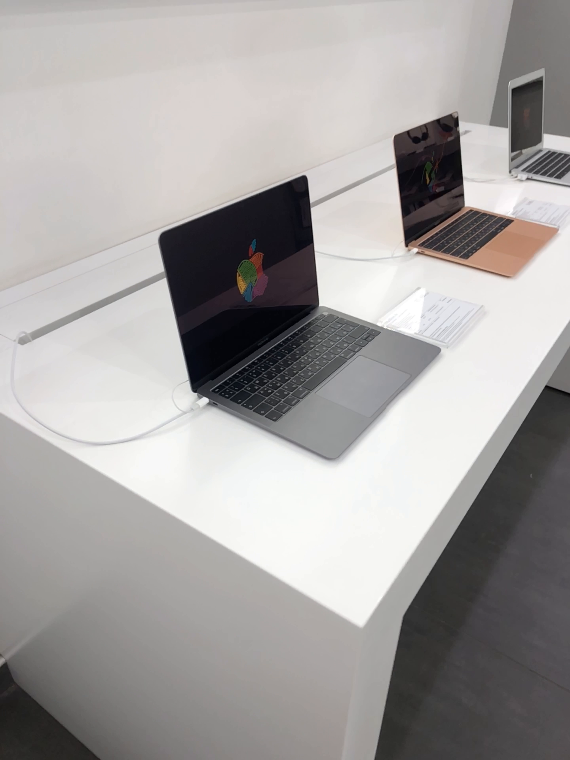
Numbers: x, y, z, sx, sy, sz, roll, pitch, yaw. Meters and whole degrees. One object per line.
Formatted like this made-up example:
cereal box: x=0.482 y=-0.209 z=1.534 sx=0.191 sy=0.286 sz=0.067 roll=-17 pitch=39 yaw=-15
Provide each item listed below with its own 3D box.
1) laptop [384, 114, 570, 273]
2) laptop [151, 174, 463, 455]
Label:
laptop: x=0.380 y=-0.375 z=1.204 sx=0.260 sy=0.184 sz=0.294 roll=23 pitch=39 yaw=29
laptop: x=0.036 y=-0.105 z=0.789 sx=0.250 sy=0.194 sz=0.286 roll=23 pitch=39 yaw=26
